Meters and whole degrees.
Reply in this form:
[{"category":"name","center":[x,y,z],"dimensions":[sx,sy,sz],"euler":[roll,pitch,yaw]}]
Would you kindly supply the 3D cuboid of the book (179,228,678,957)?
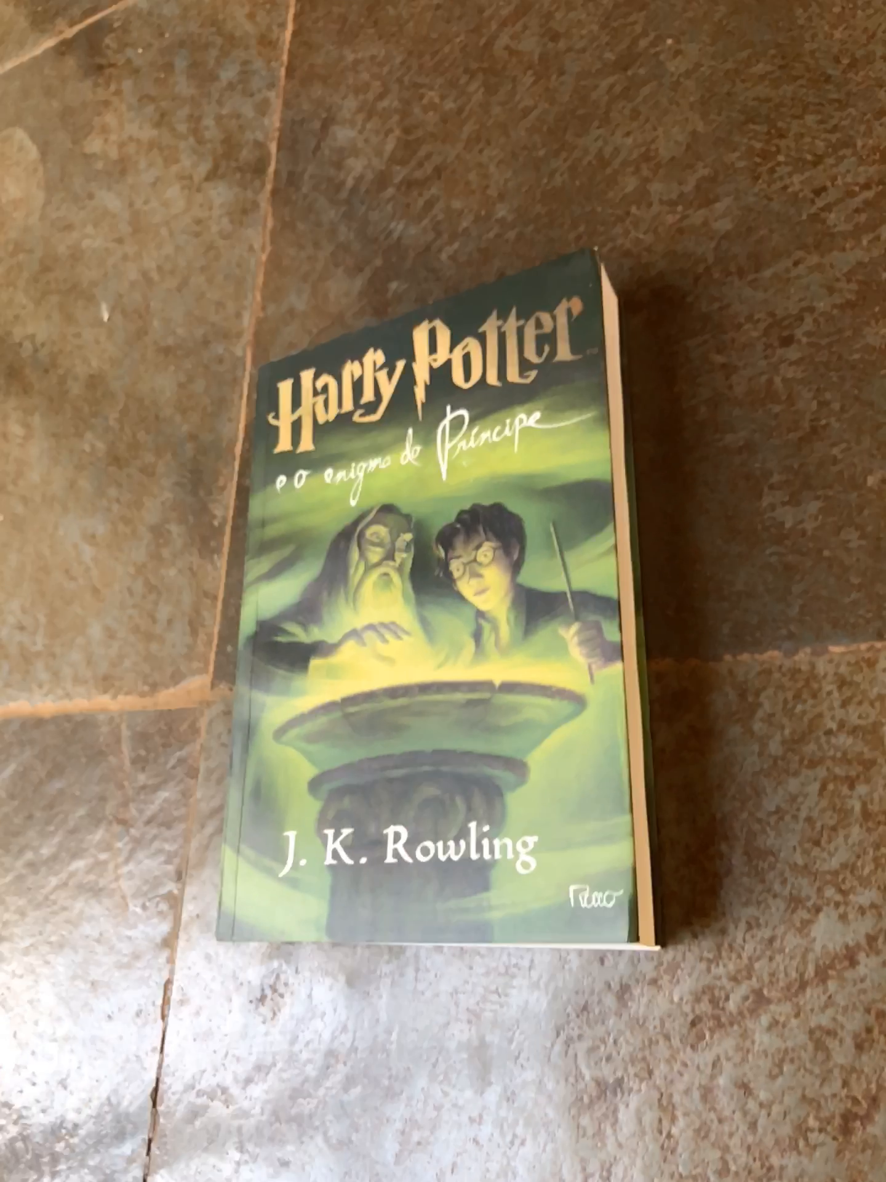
[{"category":"book","center":[-0.009,0.003,0.305],"dimensions":[0.142,0.030,0.201],"euler":[-10,69,28]}]
